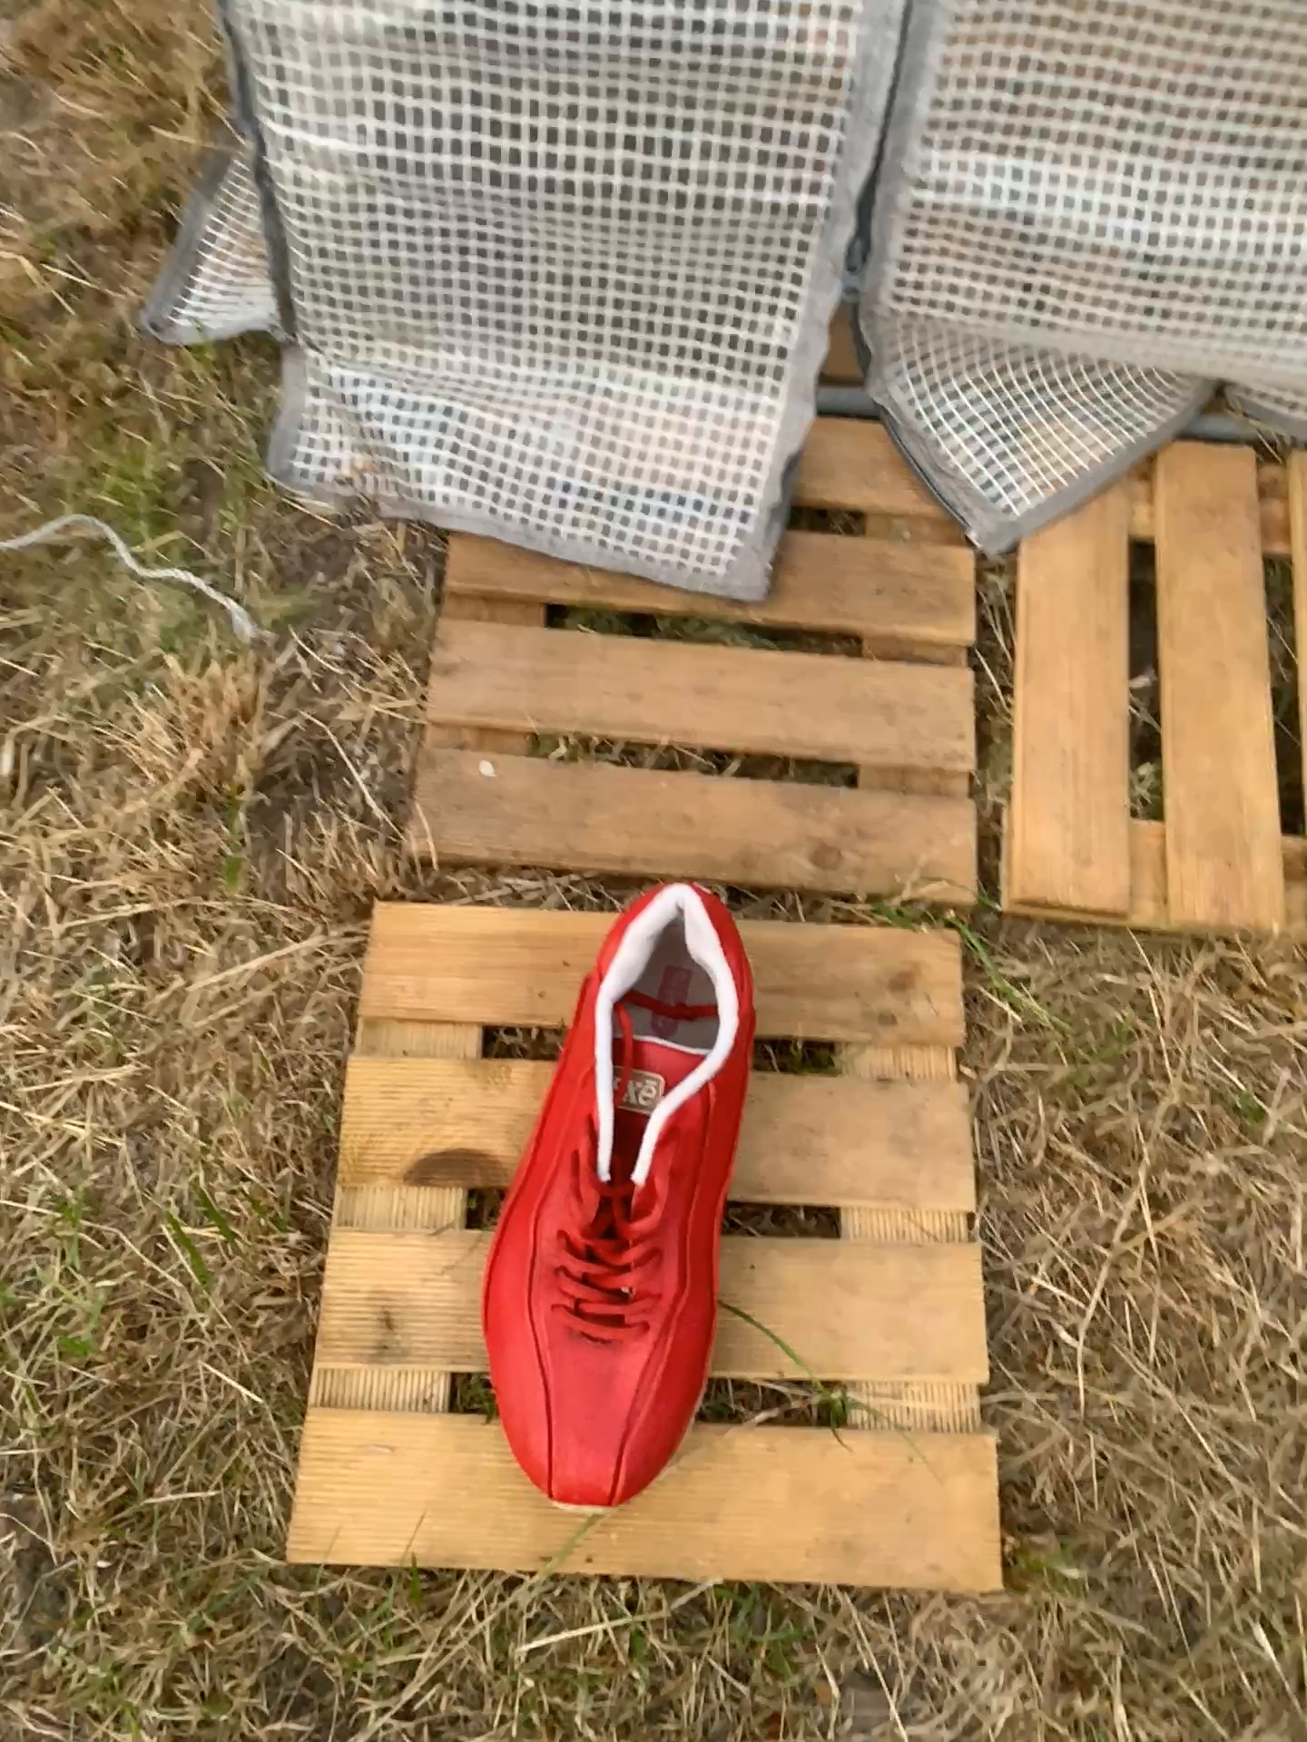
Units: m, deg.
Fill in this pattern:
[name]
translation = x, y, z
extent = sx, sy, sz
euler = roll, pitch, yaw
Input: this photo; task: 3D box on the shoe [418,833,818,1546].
[shoe]
translation = -0.009, 0.131, 0.576
extent = 0.100, 0.100, 0.261
euler = 13, 71, 4
